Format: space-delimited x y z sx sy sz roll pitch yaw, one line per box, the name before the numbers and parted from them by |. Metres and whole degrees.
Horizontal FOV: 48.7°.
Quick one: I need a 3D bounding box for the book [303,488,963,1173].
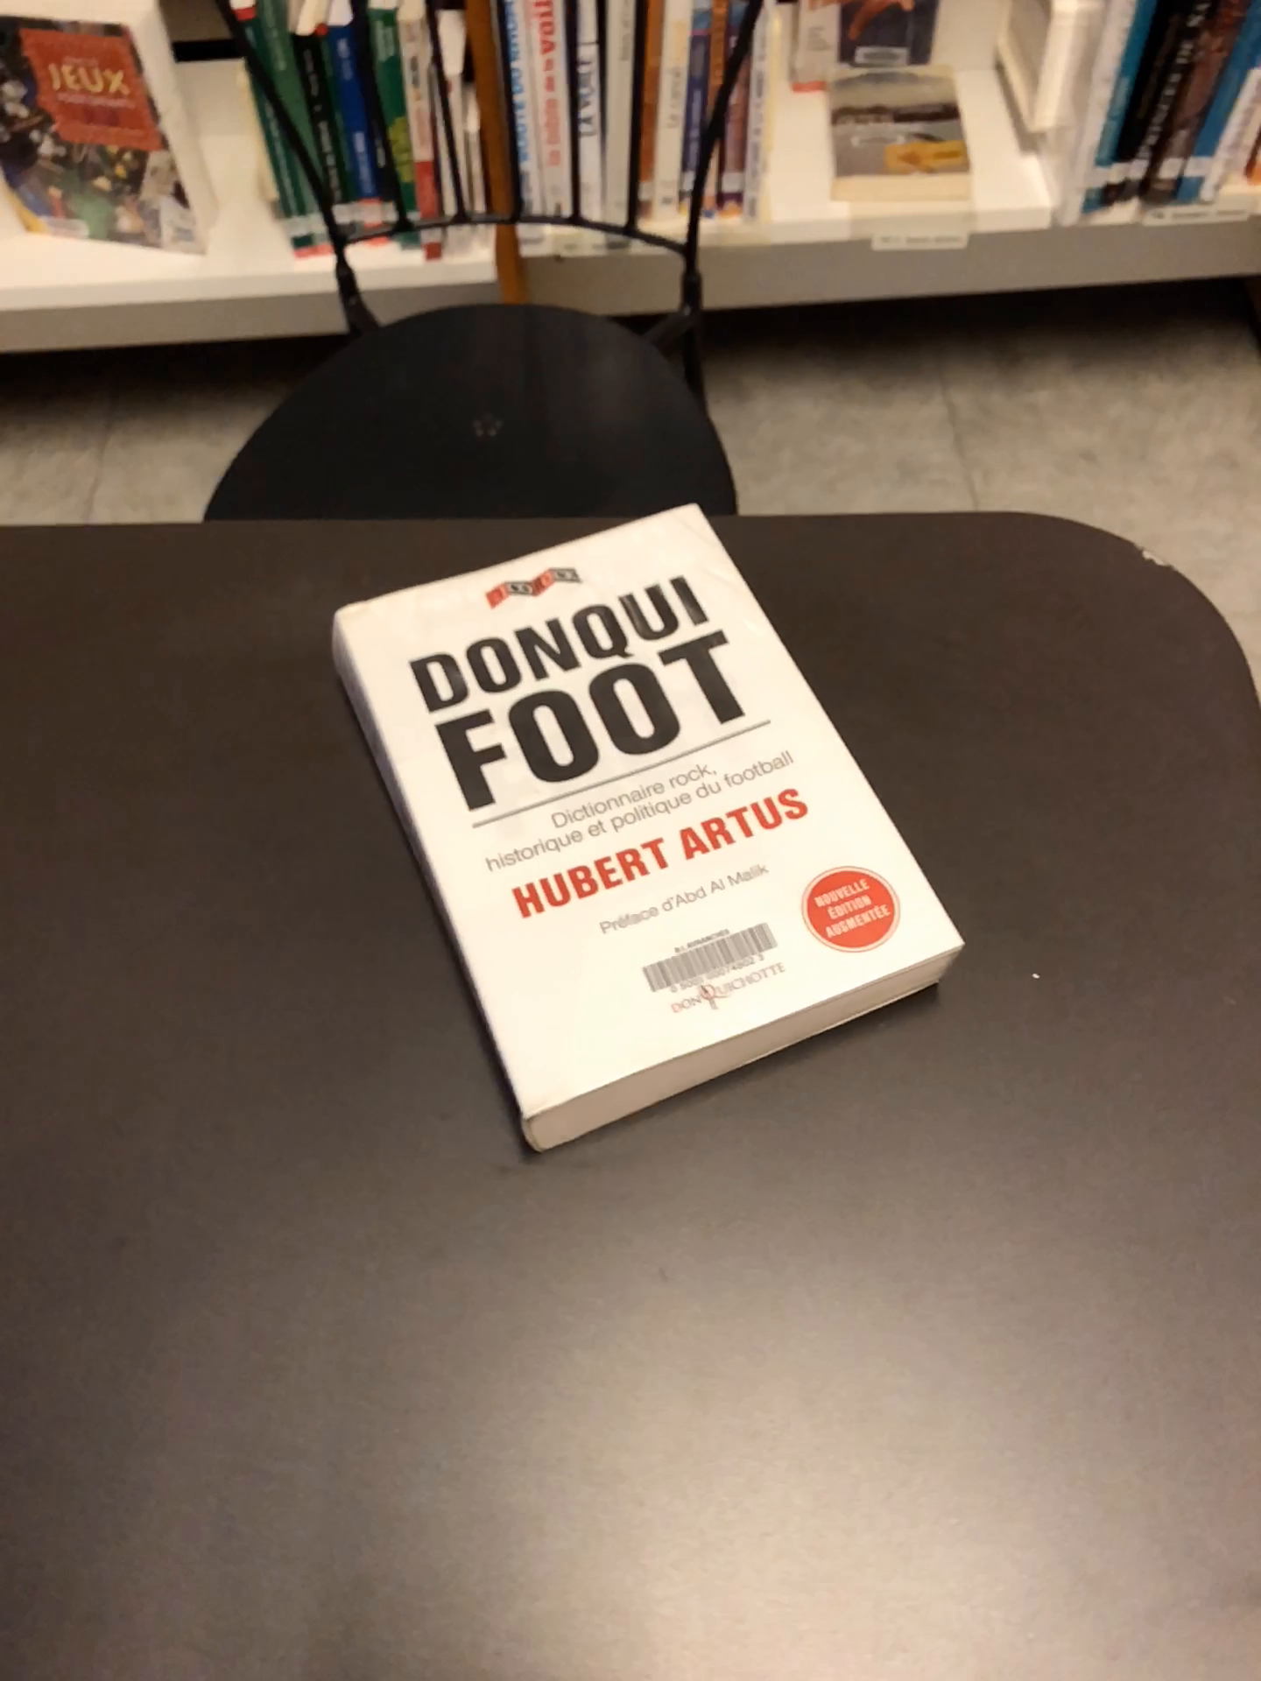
book | -0.008 -0.016 0.469 0.147 0.042 0.208 -20 58 -10
